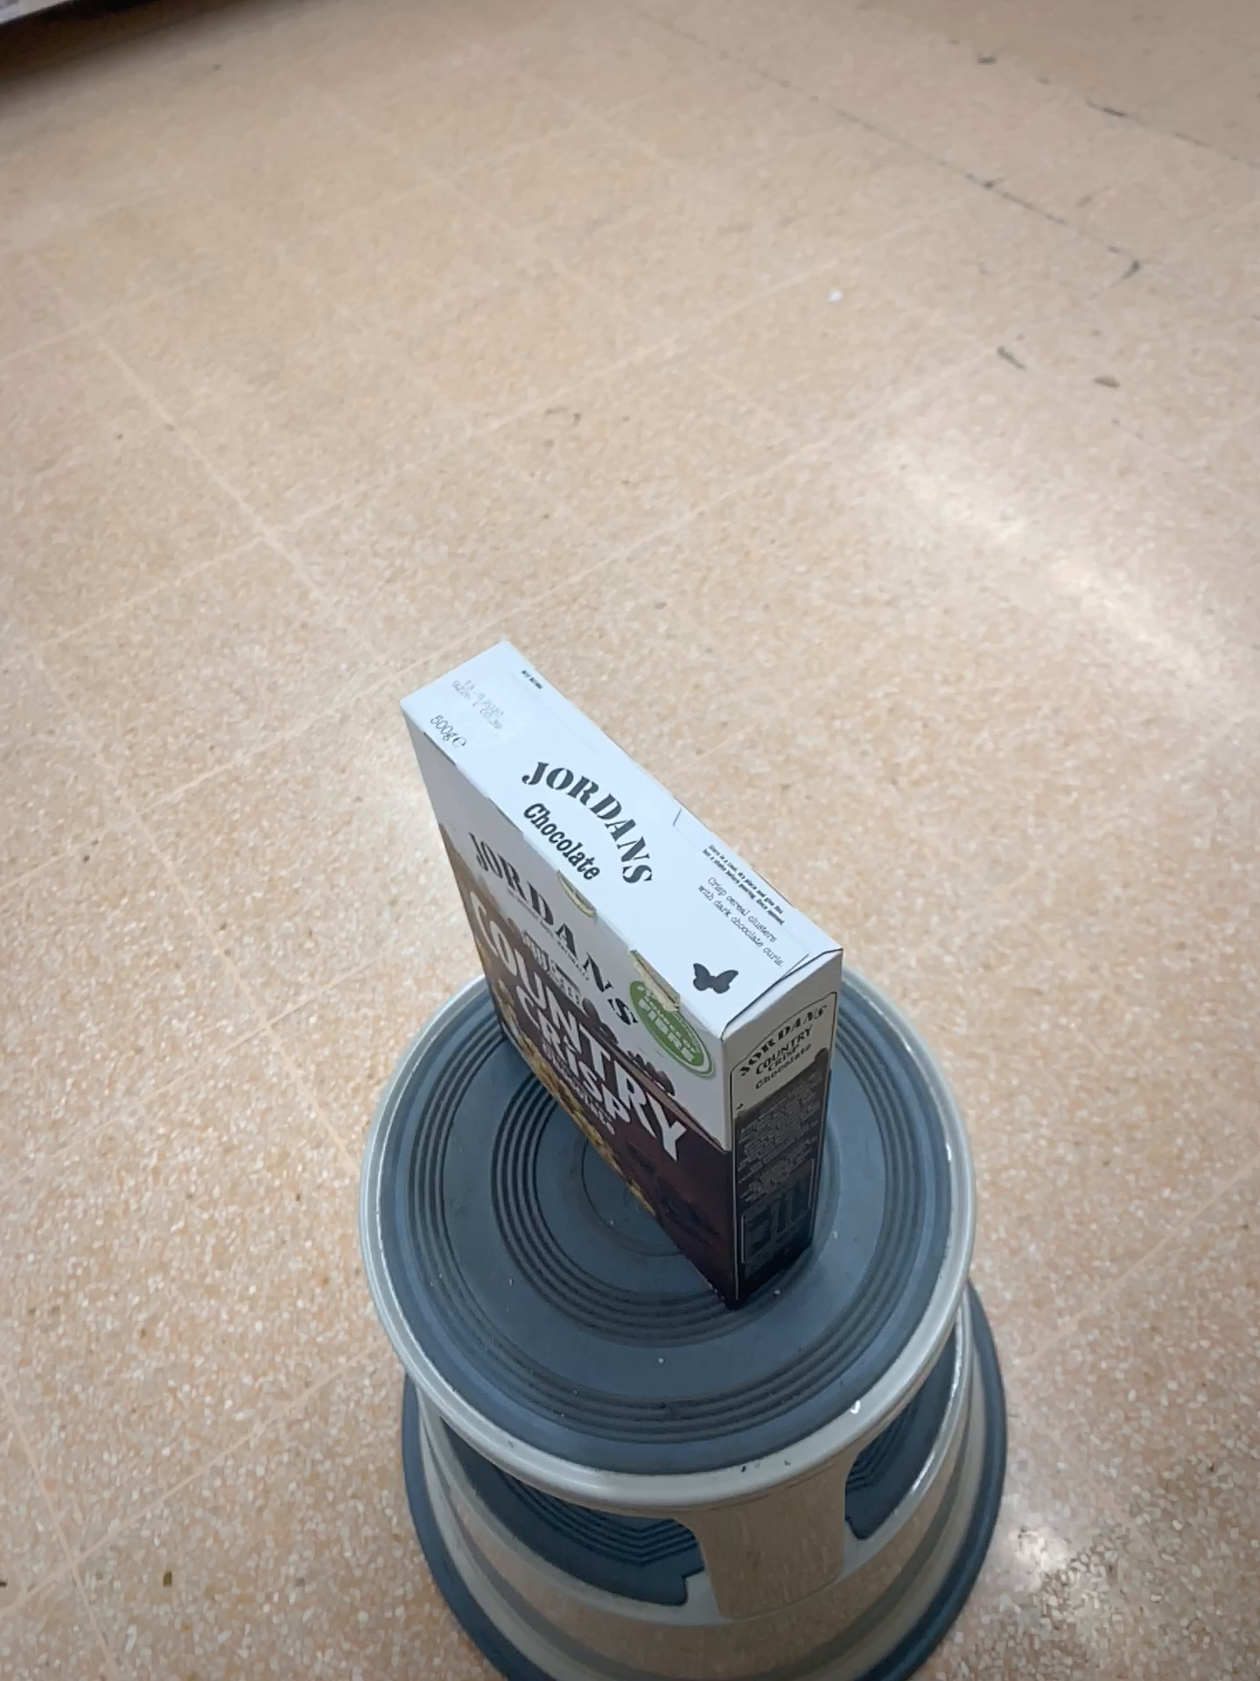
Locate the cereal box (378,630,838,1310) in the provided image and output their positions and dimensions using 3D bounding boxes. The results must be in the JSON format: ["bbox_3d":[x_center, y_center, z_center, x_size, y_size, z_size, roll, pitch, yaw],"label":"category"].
[{"bbox_3d":[-0.003,0.064,0.520,0.050,0.248,0.181,-35,58,-18],"label":"cereal box"}]
